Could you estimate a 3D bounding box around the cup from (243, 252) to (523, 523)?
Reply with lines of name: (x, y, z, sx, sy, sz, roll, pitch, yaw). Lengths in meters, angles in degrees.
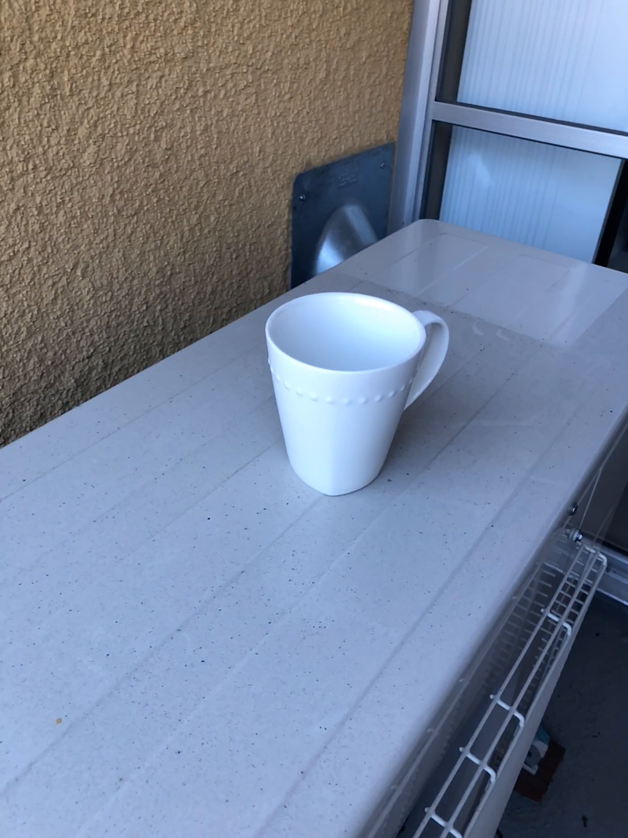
cup: (0.041, -0.029, 0.444, 0.140, 0.099, 0.100, -26, 44, -36)
